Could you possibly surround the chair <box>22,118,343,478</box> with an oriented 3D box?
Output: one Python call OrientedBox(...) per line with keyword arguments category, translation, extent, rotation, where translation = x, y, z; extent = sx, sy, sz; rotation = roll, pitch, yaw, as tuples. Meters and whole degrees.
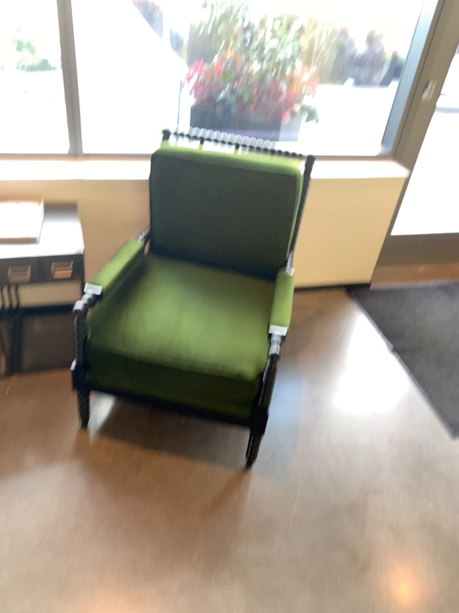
OrientedBox(category="chair", translation=(-0.102, -0.091, 1.910), extent=(0.871, 0.924, 0.946), rotation=(13, 37, 6))
